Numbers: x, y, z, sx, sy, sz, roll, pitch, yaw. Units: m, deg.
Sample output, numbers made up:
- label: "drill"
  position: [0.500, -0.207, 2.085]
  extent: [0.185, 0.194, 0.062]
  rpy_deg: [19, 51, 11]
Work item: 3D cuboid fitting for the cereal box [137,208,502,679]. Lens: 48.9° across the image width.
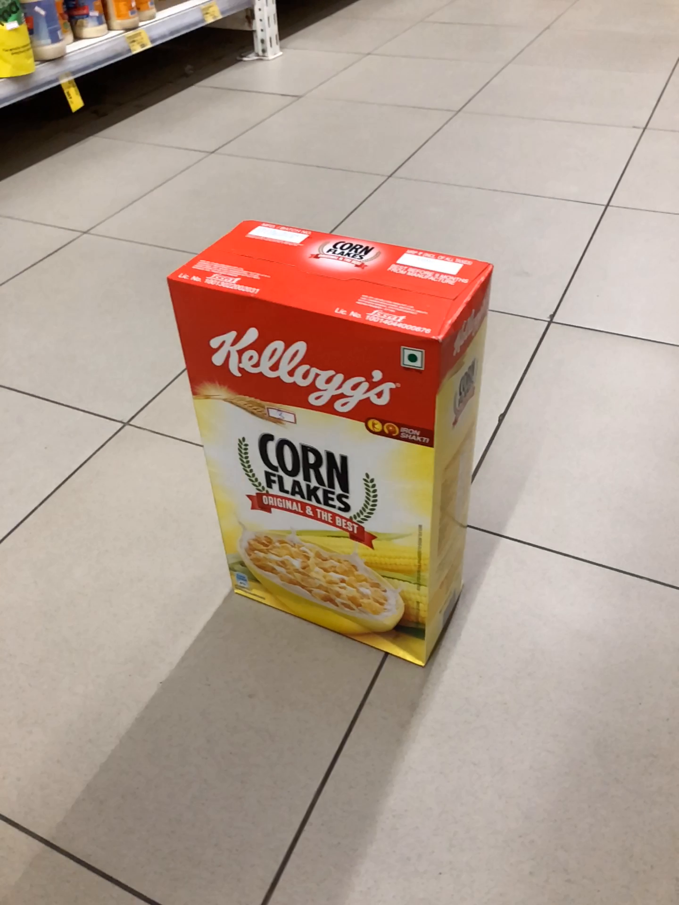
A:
- label: "cereal box"
  position: [-0.005, 0.004, 0.560]
  extent: [0.200, 0.318, 0.101]
  rpy_deg: [16, 44, 22]
